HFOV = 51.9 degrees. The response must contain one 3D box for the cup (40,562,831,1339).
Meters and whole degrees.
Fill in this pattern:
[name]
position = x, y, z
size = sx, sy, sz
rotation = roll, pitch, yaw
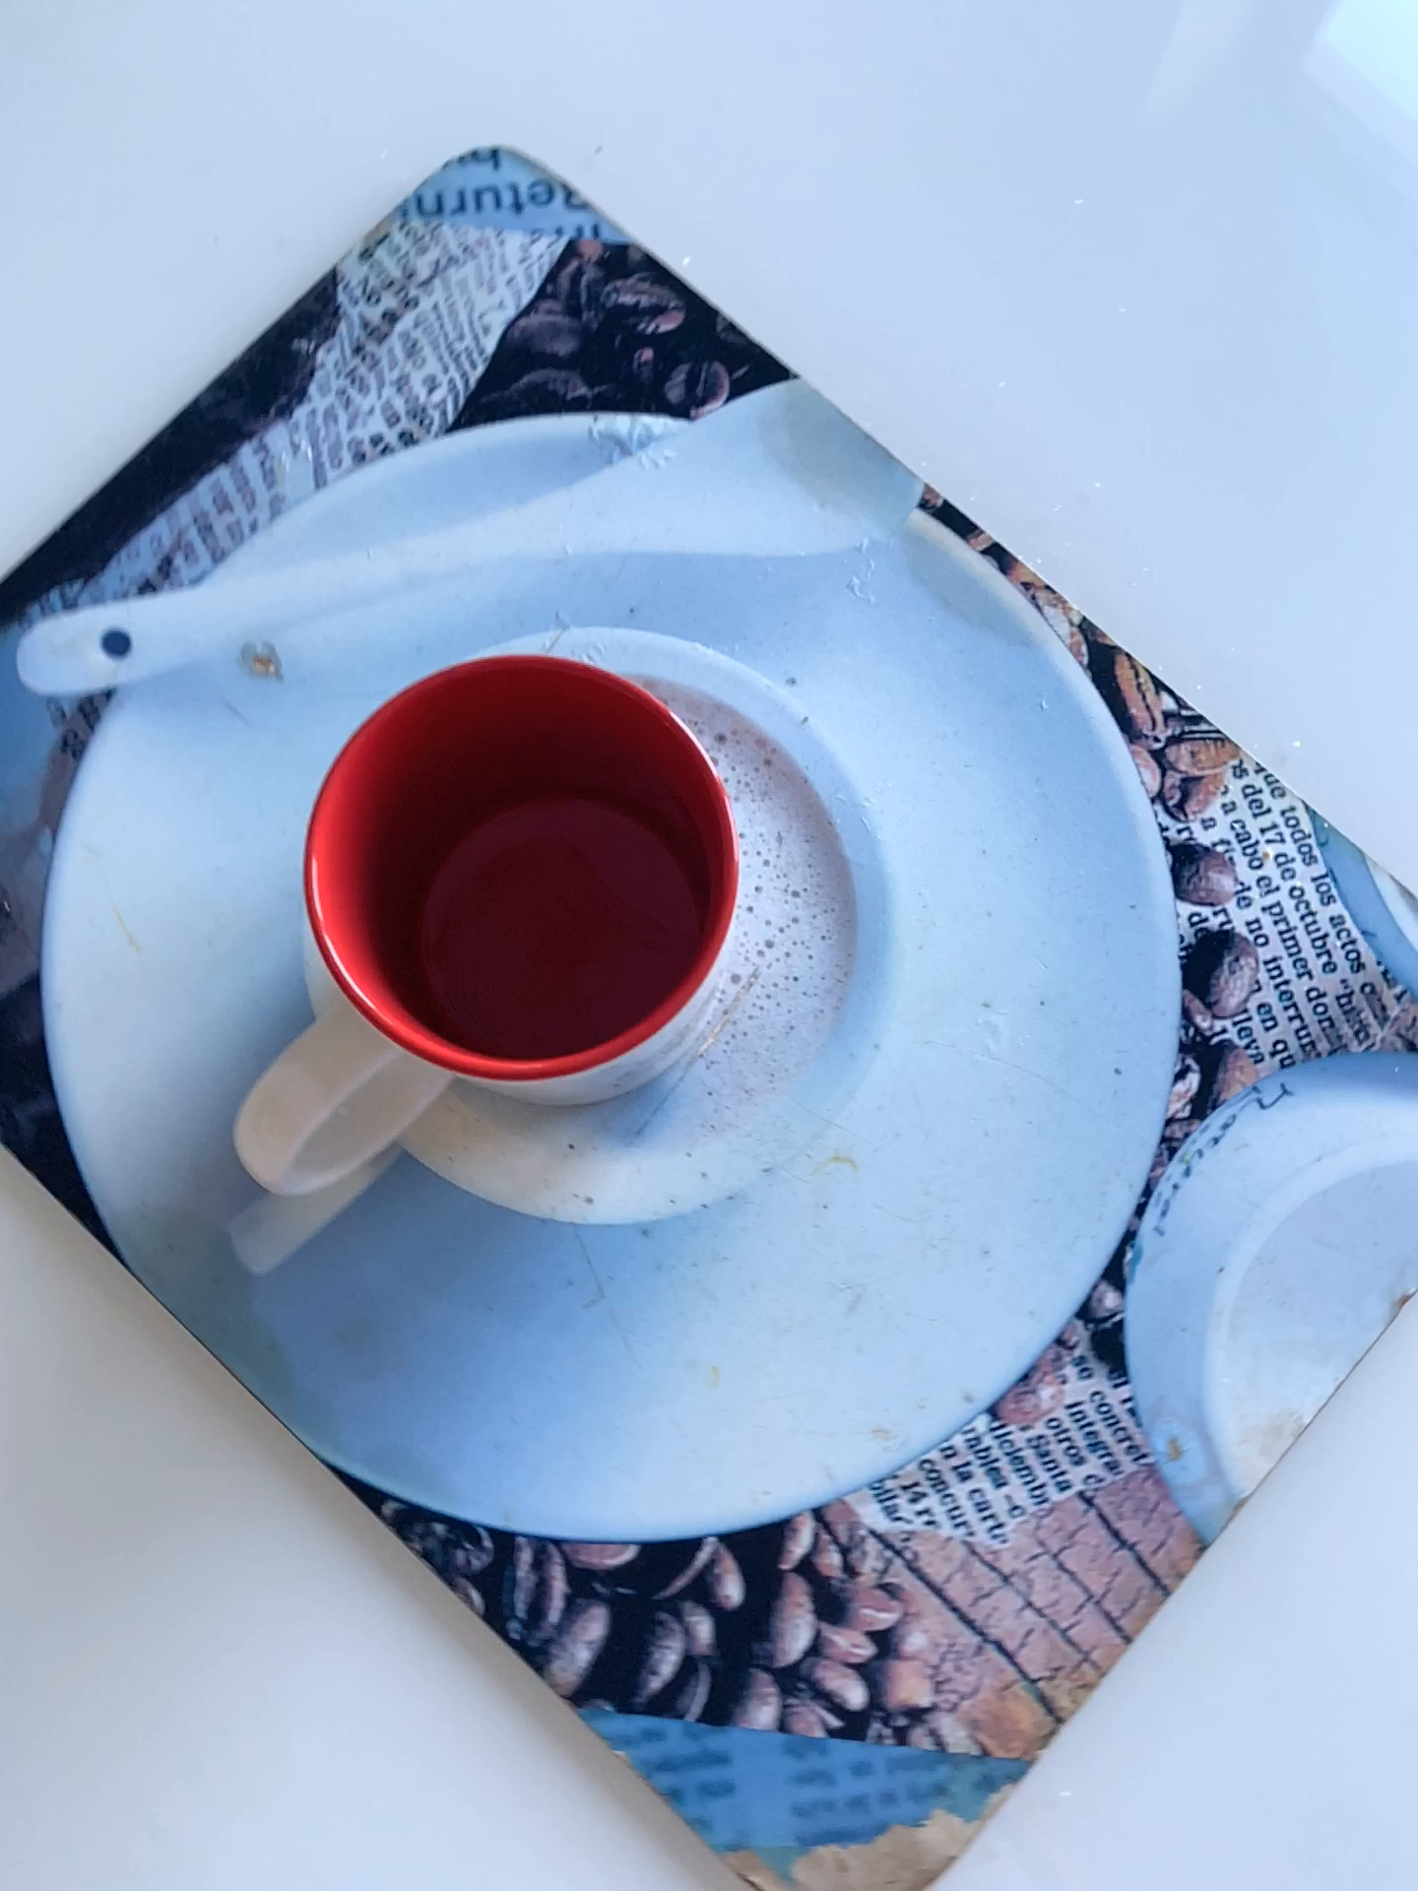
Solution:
[cup]
position = -0.047, 0.007, 0.311
size = 0.077, 0.115, 0.117
rotation = 44, 83, 6
